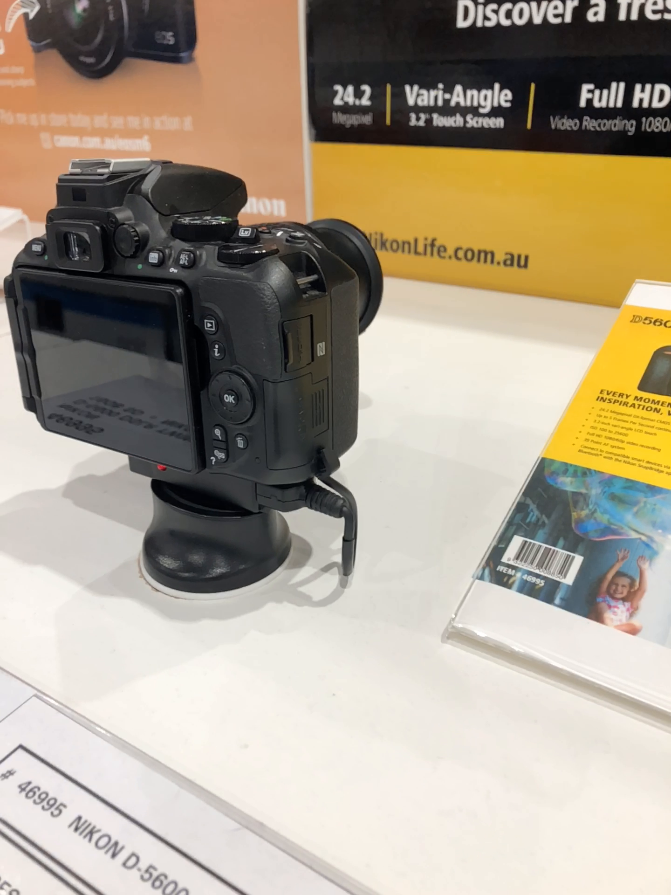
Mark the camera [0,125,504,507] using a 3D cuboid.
[{"bbox_3d":[-0.028,-0.071,0.299,0.127,0.097,0.163,15,31,30],"label":"camera"}]
